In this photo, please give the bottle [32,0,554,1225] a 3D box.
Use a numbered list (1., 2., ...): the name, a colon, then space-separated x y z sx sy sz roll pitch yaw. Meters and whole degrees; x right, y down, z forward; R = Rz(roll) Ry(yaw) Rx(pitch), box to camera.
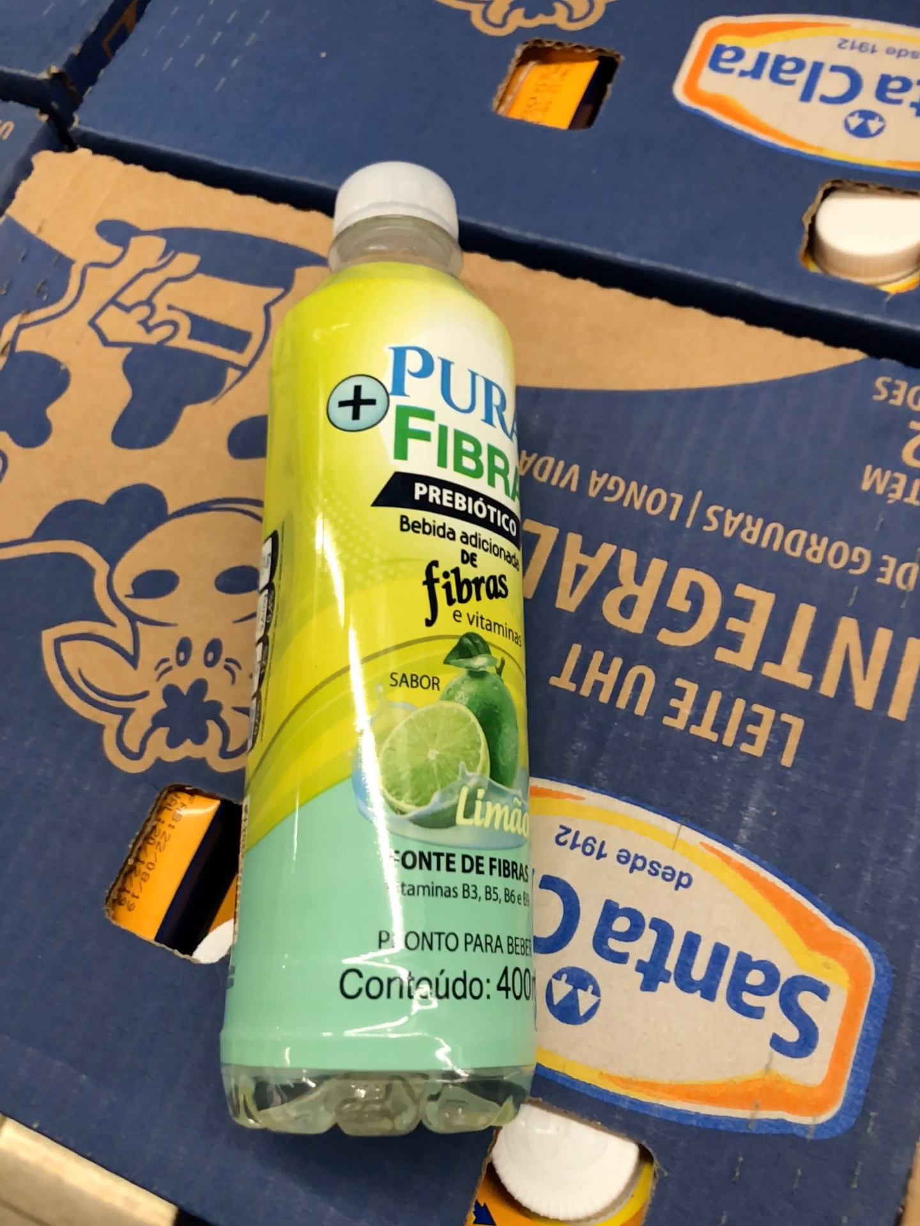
1. bottle: -0.020 -0.019 0.219 0.070 0.060 0.251 -2 64 5
